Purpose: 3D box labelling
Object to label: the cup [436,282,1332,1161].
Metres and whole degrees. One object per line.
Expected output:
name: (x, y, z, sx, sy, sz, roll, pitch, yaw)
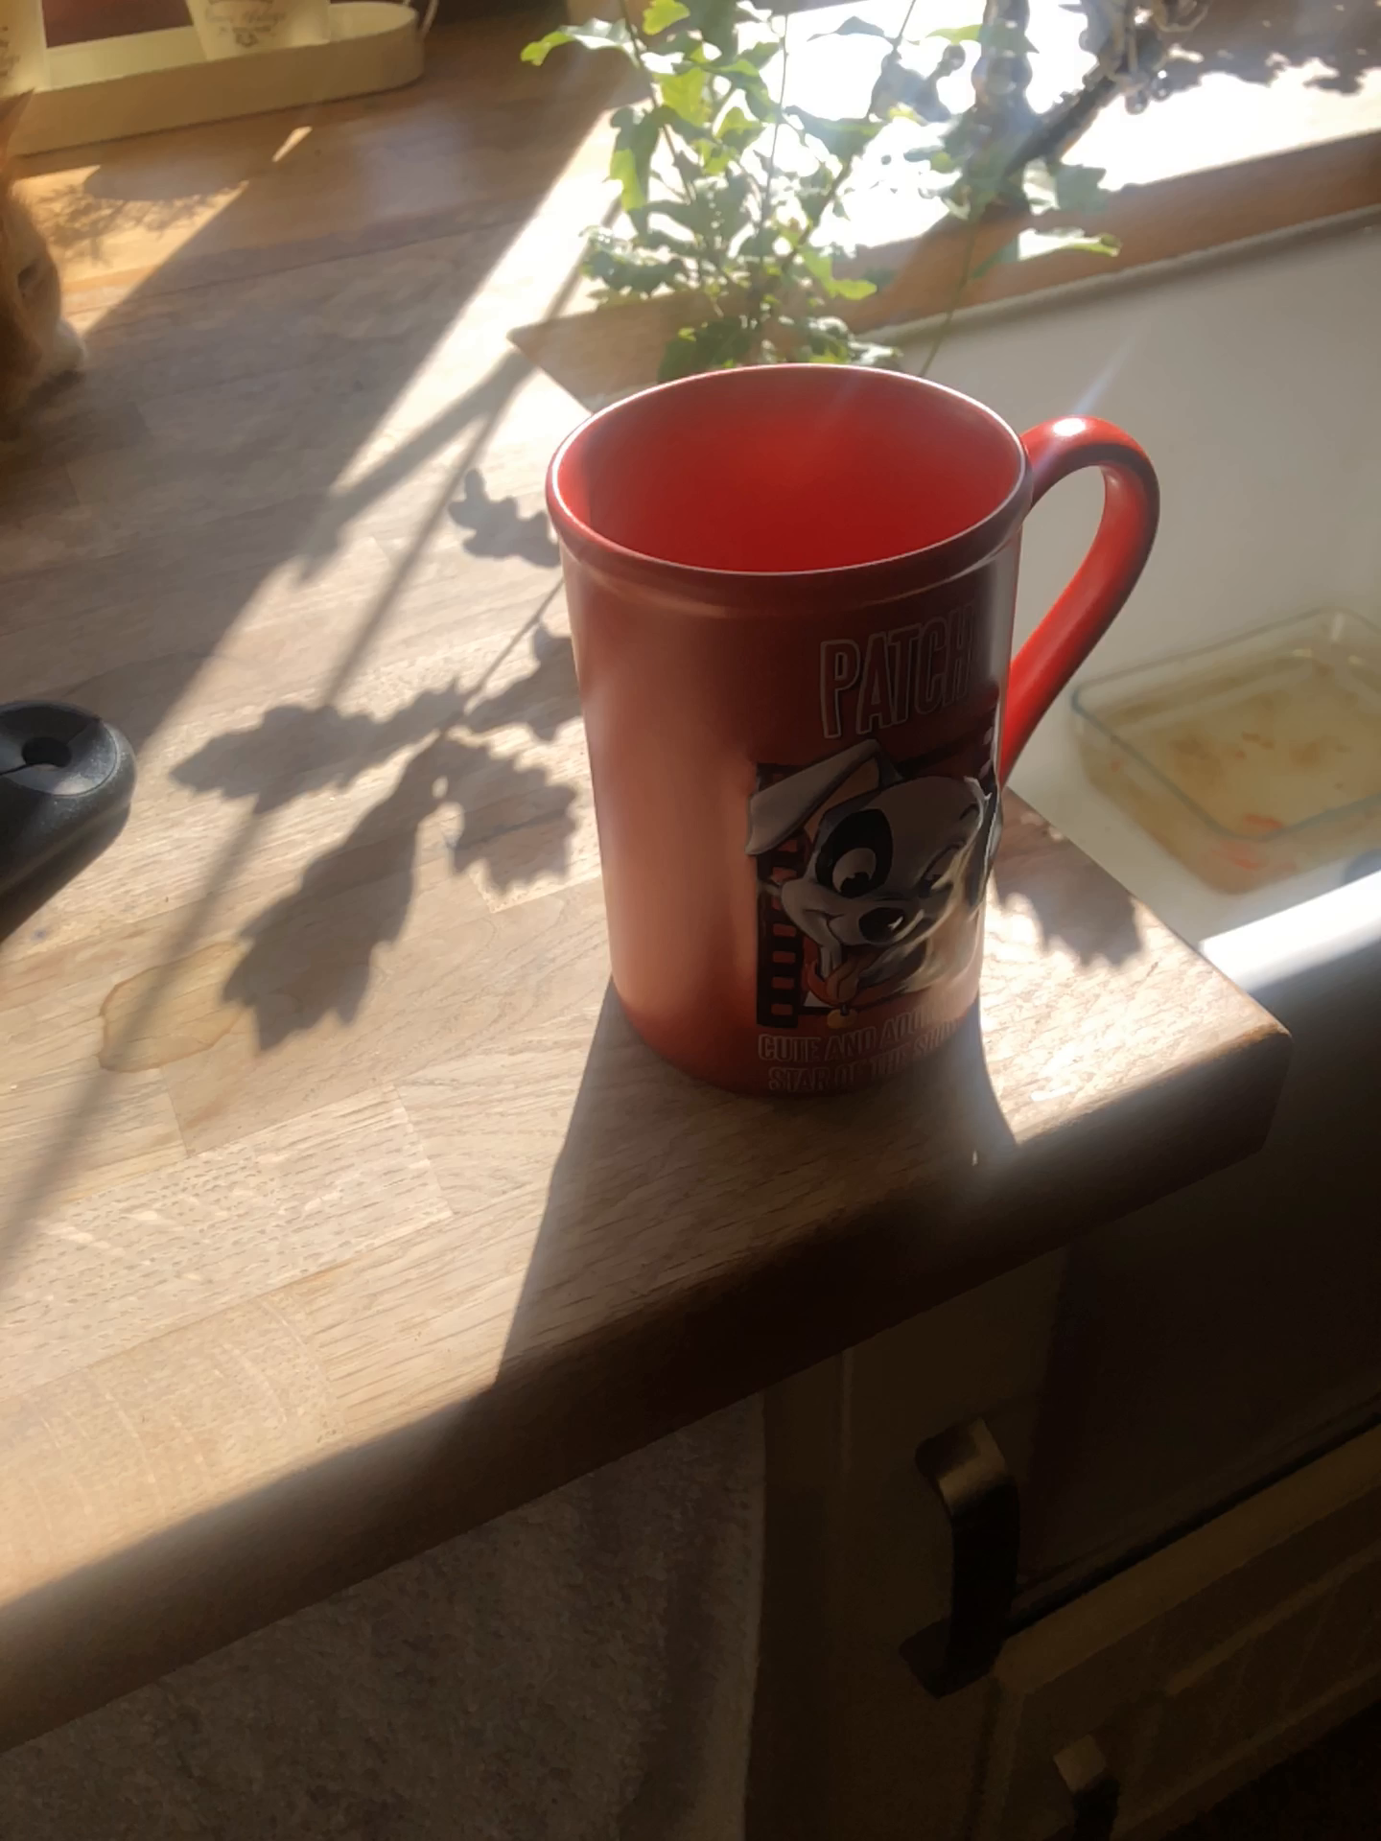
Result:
cup: (0.033, -0.045, 0.314, 0.131, 0.119, 0.095, -18, 41, -17)
